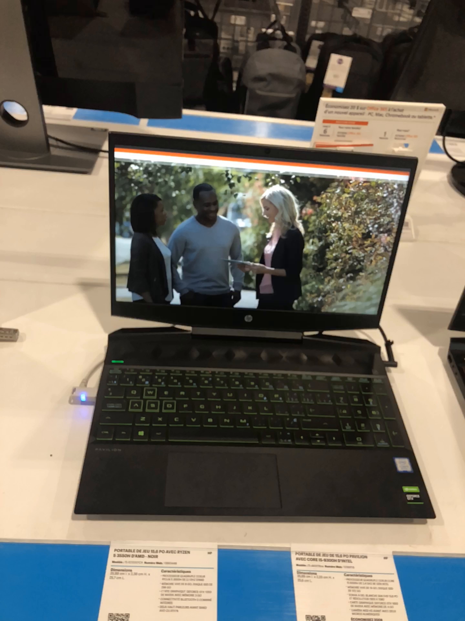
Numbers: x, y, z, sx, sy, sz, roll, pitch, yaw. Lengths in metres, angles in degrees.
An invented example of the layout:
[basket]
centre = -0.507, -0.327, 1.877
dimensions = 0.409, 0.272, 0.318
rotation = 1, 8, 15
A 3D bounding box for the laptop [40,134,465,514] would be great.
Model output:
[laptop]
centre = 0.032, 0.006, 0.550
dimensions = 0.355, 0.232, 0.317
rotation = 3, 40, -7
